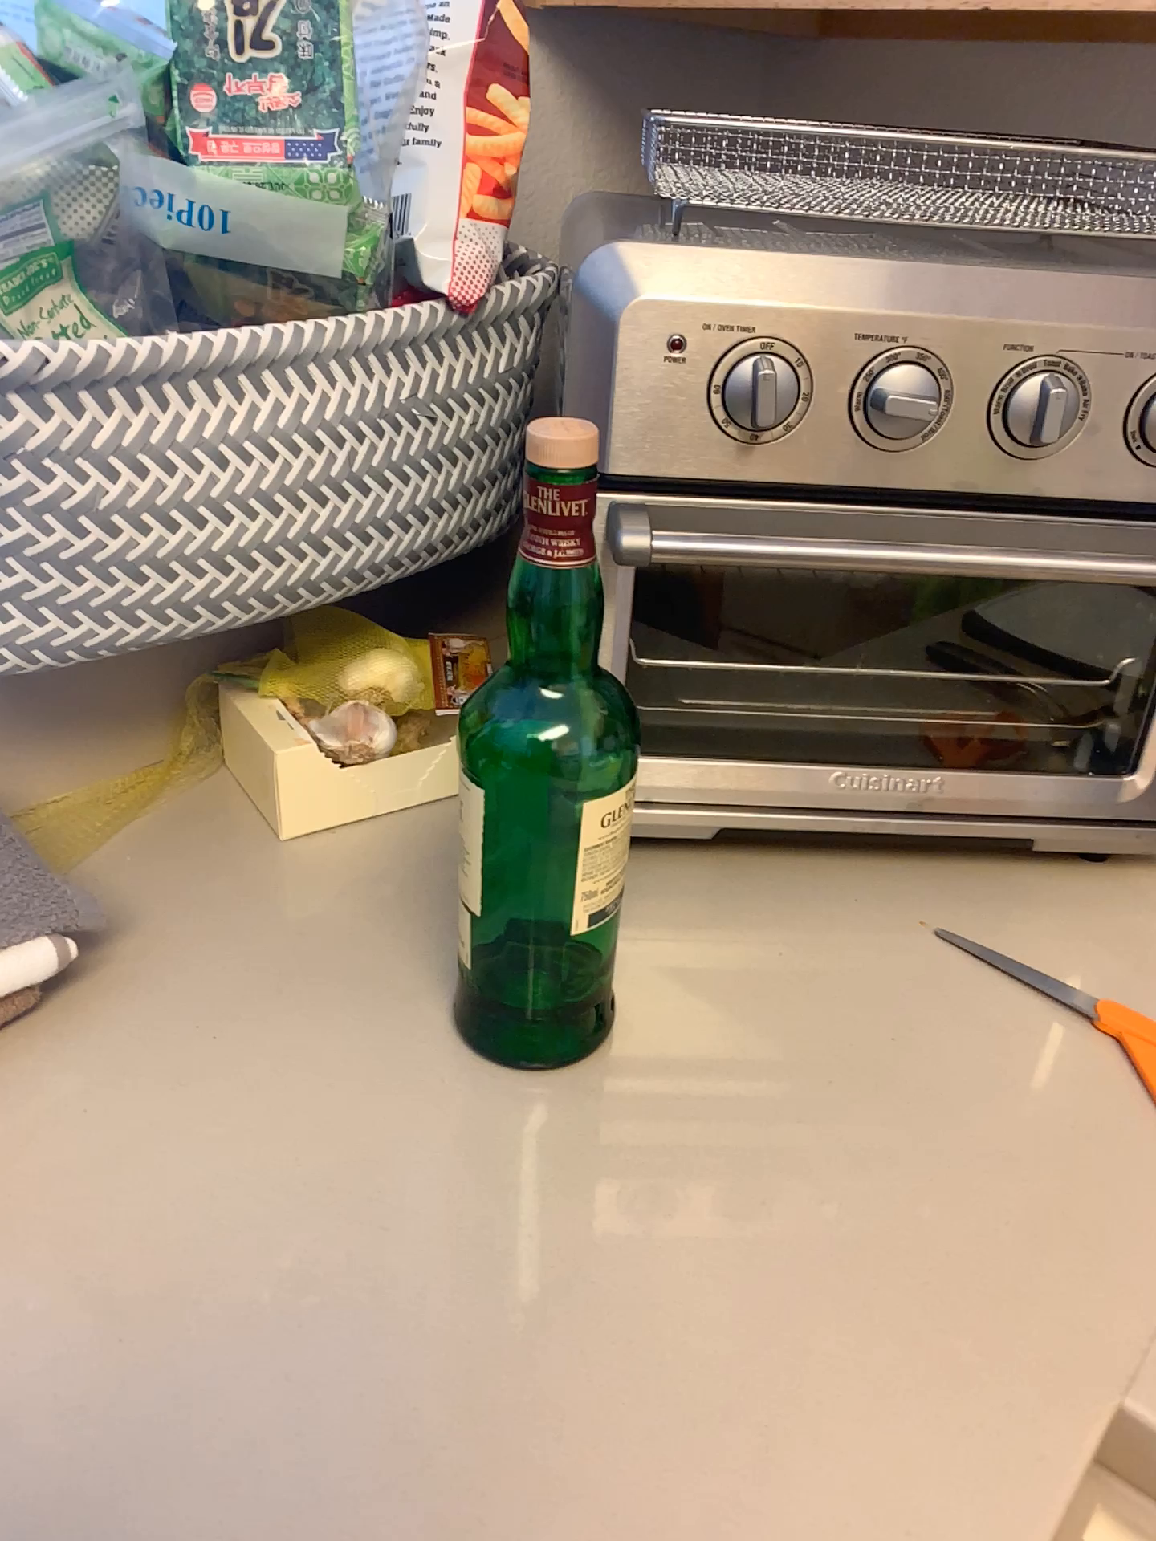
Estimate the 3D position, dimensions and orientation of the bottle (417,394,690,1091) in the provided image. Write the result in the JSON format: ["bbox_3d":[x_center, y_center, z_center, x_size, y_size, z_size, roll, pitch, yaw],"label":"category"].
[{"bbox_3d":[-0.014,-0.005,0.503,0.080,0.278,0.080,3,29,-2],"label":"bottle"}]
